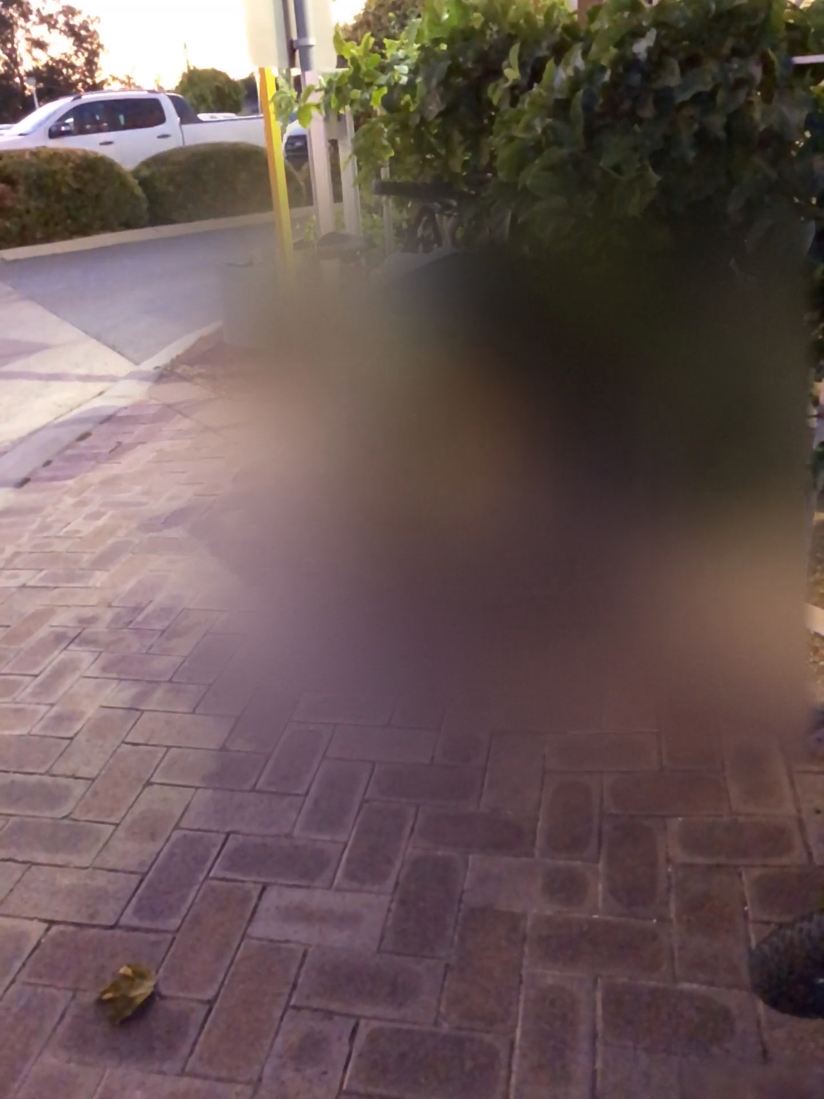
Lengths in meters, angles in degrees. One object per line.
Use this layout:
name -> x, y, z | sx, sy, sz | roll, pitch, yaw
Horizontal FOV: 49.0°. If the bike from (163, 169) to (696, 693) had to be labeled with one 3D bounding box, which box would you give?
bike -> -0.080, -0.504, 2.537 | 0.552, 0.995, 1.700 | -18, 29, -28
